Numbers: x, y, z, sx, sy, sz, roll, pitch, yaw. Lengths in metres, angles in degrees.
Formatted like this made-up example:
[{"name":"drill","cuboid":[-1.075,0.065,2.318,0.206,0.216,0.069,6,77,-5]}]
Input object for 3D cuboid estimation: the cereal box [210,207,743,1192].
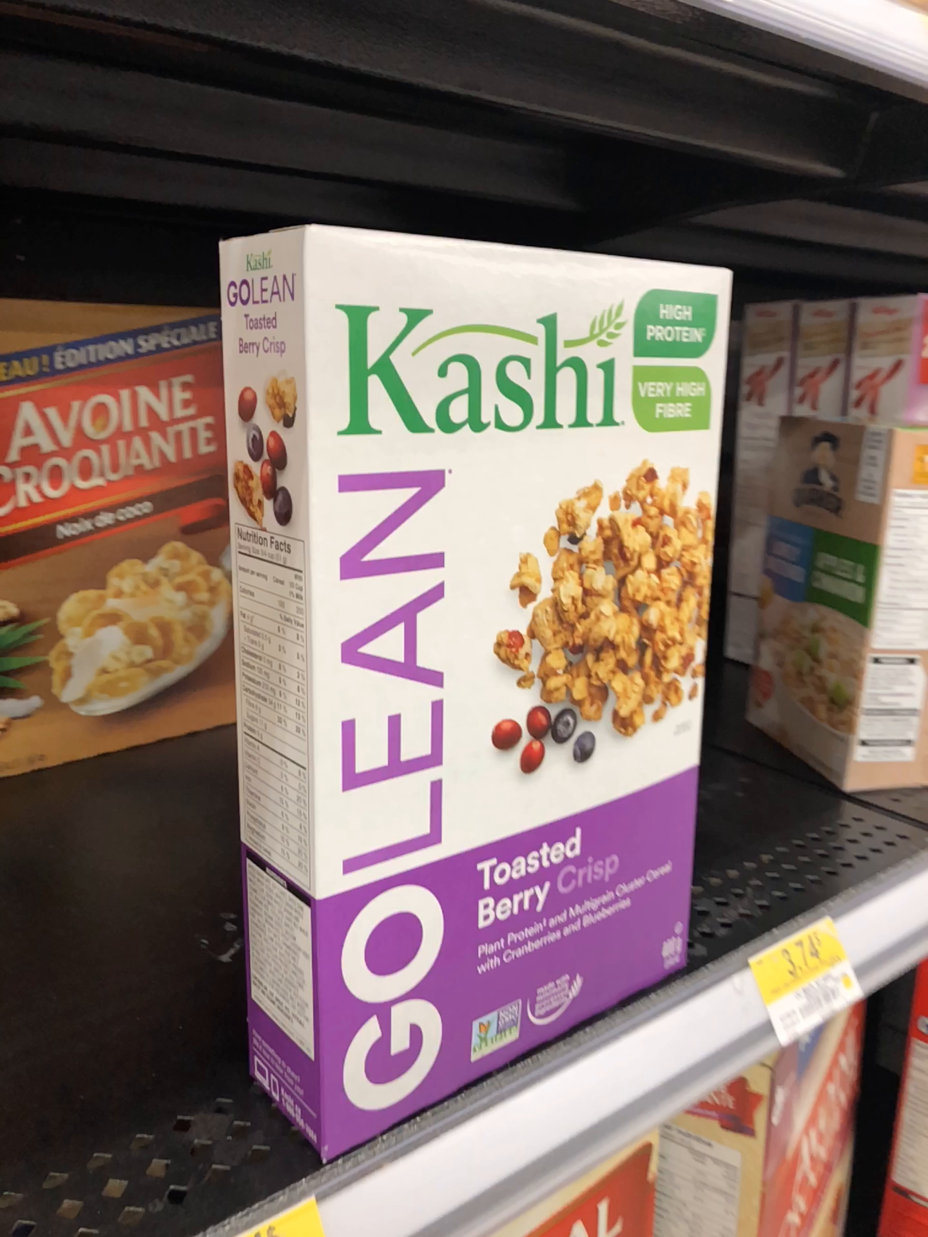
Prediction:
[{"name":"cereal box","cuboid":[0.010,0.019,0.341,0.170,0.269,0.050,-10,17,-39]}]
